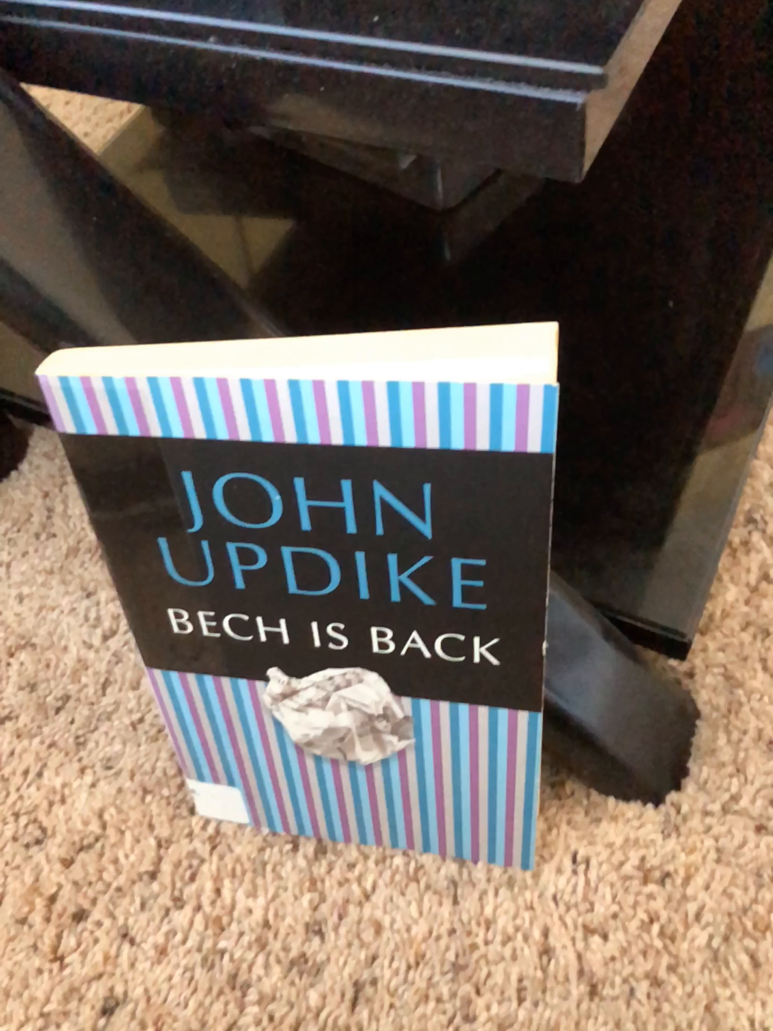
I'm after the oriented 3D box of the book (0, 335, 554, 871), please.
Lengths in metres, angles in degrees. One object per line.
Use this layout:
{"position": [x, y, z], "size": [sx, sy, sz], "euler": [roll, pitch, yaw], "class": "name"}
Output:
{"position": [-0.019, 0.041, 0.268], "size": [0.135, 0.201, 0.030], "euler": [2, 42, 12], "class": "book"}
